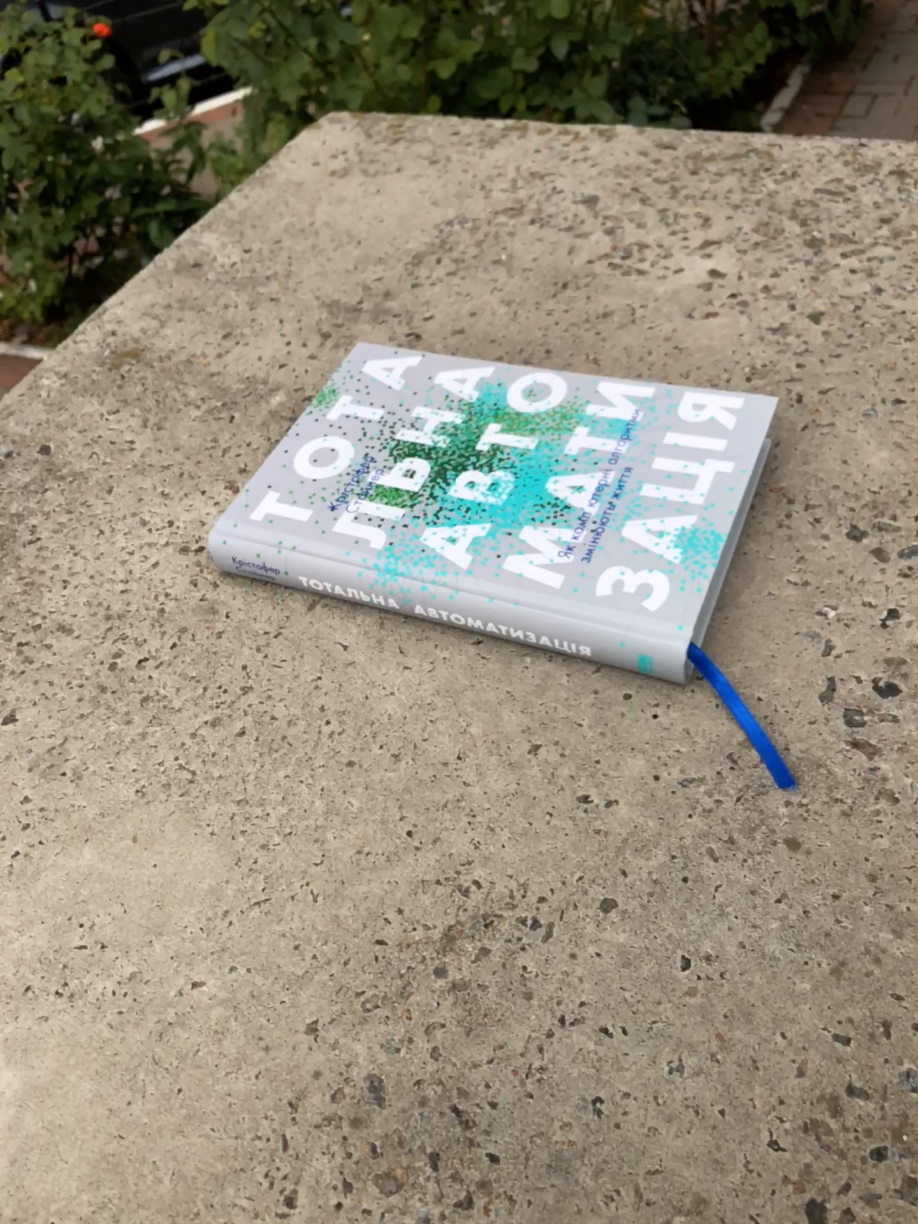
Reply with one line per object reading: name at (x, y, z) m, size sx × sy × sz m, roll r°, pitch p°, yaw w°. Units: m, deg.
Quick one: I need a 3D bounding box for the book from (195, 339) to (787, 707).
book at (0.017, -0.054, 0.458) m, size 0.221 × 0.030 × 0.157 m, roll 13°, pitch 53°, yaw 22°
